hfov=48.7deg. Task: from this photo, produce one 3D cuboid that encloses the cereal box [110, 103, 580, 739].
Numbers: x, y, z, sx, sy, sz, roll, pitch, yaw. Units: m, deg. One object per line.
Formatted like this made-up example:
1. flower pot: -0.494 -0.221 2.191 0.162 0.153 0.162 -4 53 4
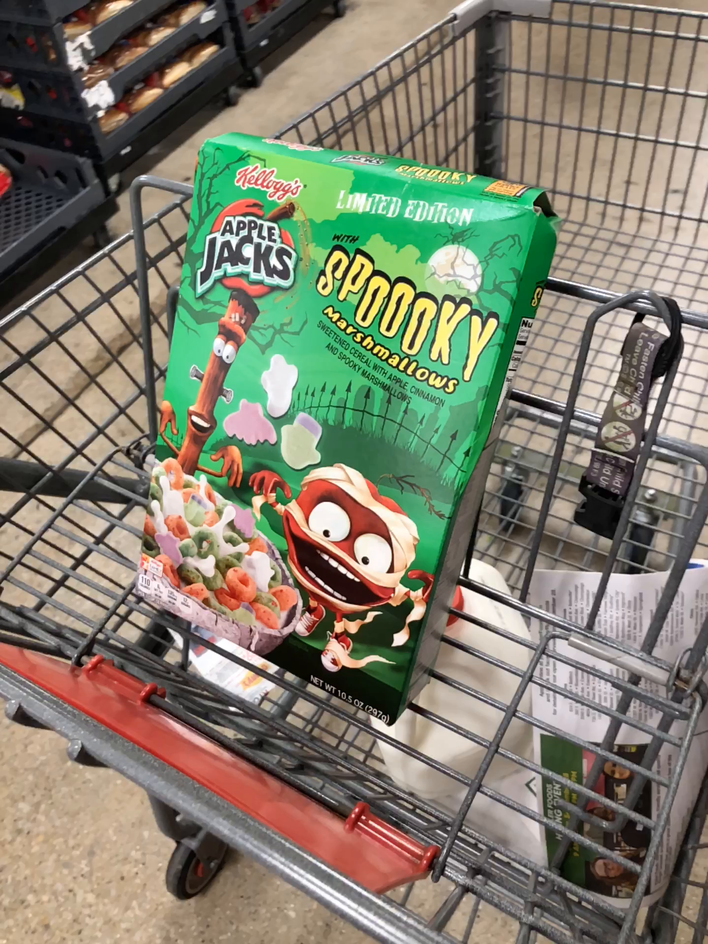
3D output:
1. cereal box: -0.023 -0.031 0.429 0.200 0.280 0.070 21 22 24
